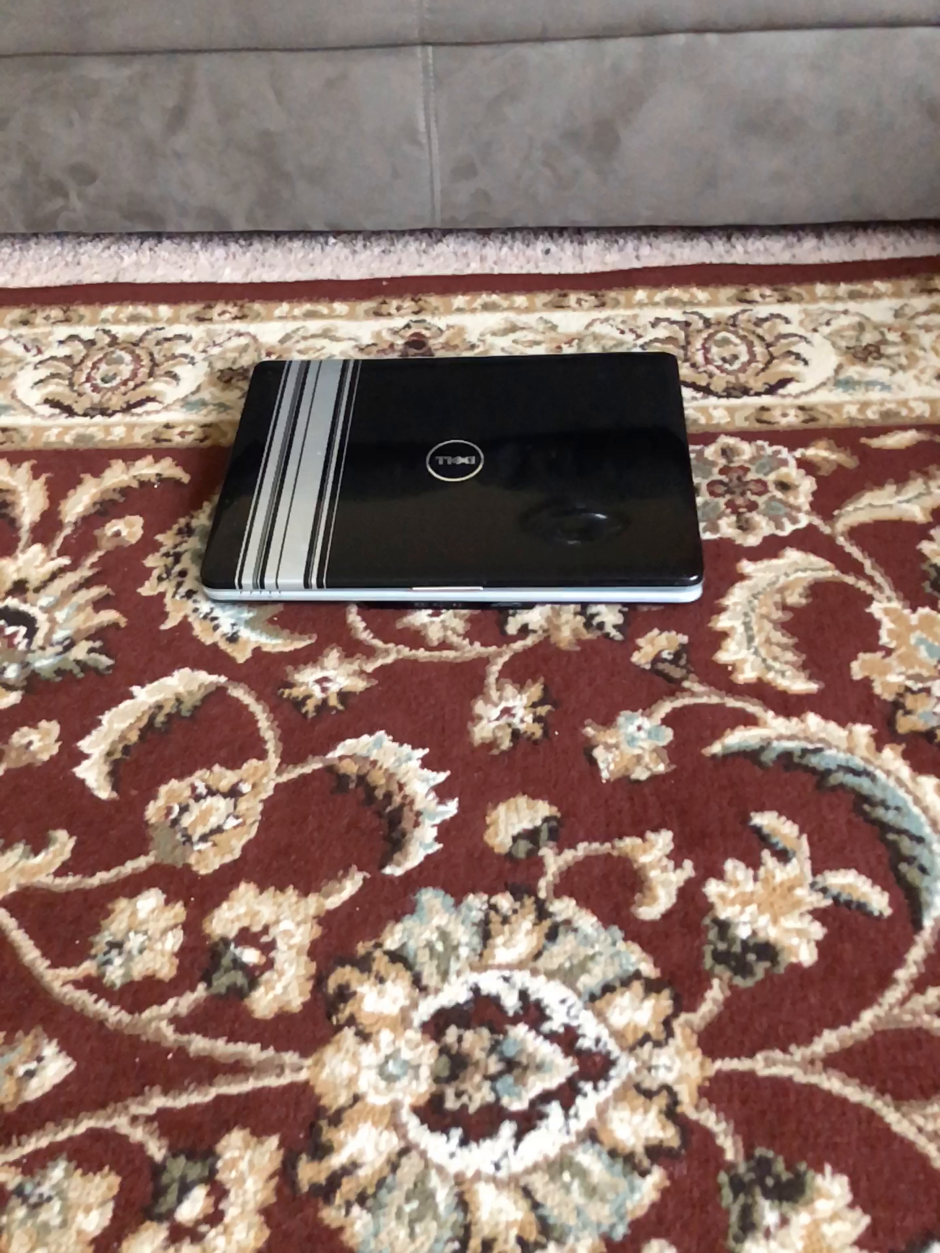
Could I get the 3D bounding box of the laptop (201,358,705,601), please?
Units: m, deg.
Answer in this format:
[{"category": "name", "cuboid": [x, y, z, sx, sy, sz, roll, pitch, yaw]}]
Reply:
[{"category": "laptop", "cuboid": [-0.009, -0.120, 0.794, 0.351, 0.015, 0.242, 0, 53, 4]}]
